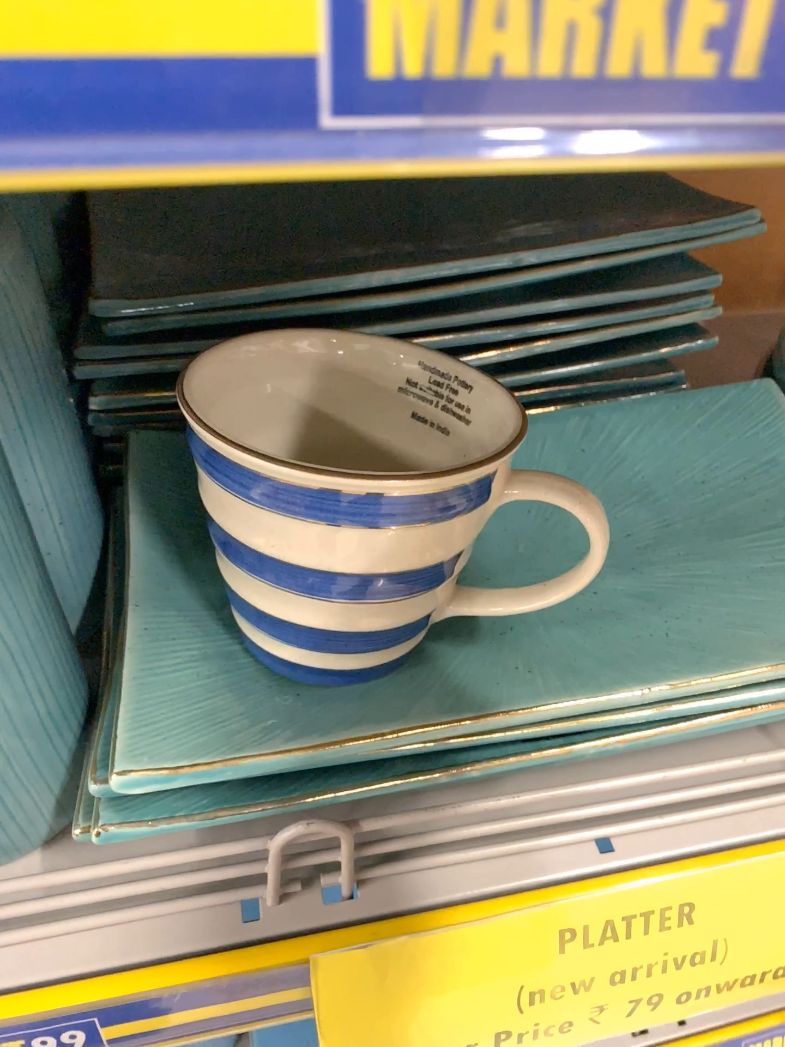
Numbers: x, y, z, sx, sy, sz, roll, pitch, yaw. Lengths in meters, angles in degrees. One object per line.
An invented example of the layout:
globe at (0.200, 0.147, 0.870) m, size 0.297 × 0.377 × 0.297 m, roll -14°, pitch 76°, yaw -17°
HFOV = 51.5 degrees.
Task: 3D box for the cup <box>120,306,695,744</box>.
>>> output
cup at (0.002, -0.004, 0.260) m, size 0.140 × 0.080 × 0.100 m, roll 8°, pitch 33°, yaw -2°
